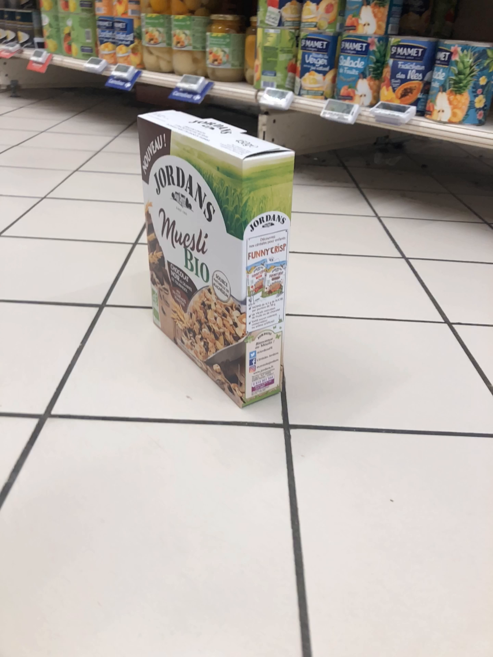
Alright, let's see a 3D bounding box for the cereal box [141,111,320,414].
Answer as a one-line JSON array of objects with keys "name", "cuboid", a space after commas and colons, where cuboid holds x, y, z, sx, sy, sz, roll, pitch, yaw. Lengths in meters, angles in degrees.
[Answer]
[{"name": "cereal box", "cuboid": [-0.027, -0.067, 0.482, 0.050, 0.209, 0.190, -15, 34, -30]}]
